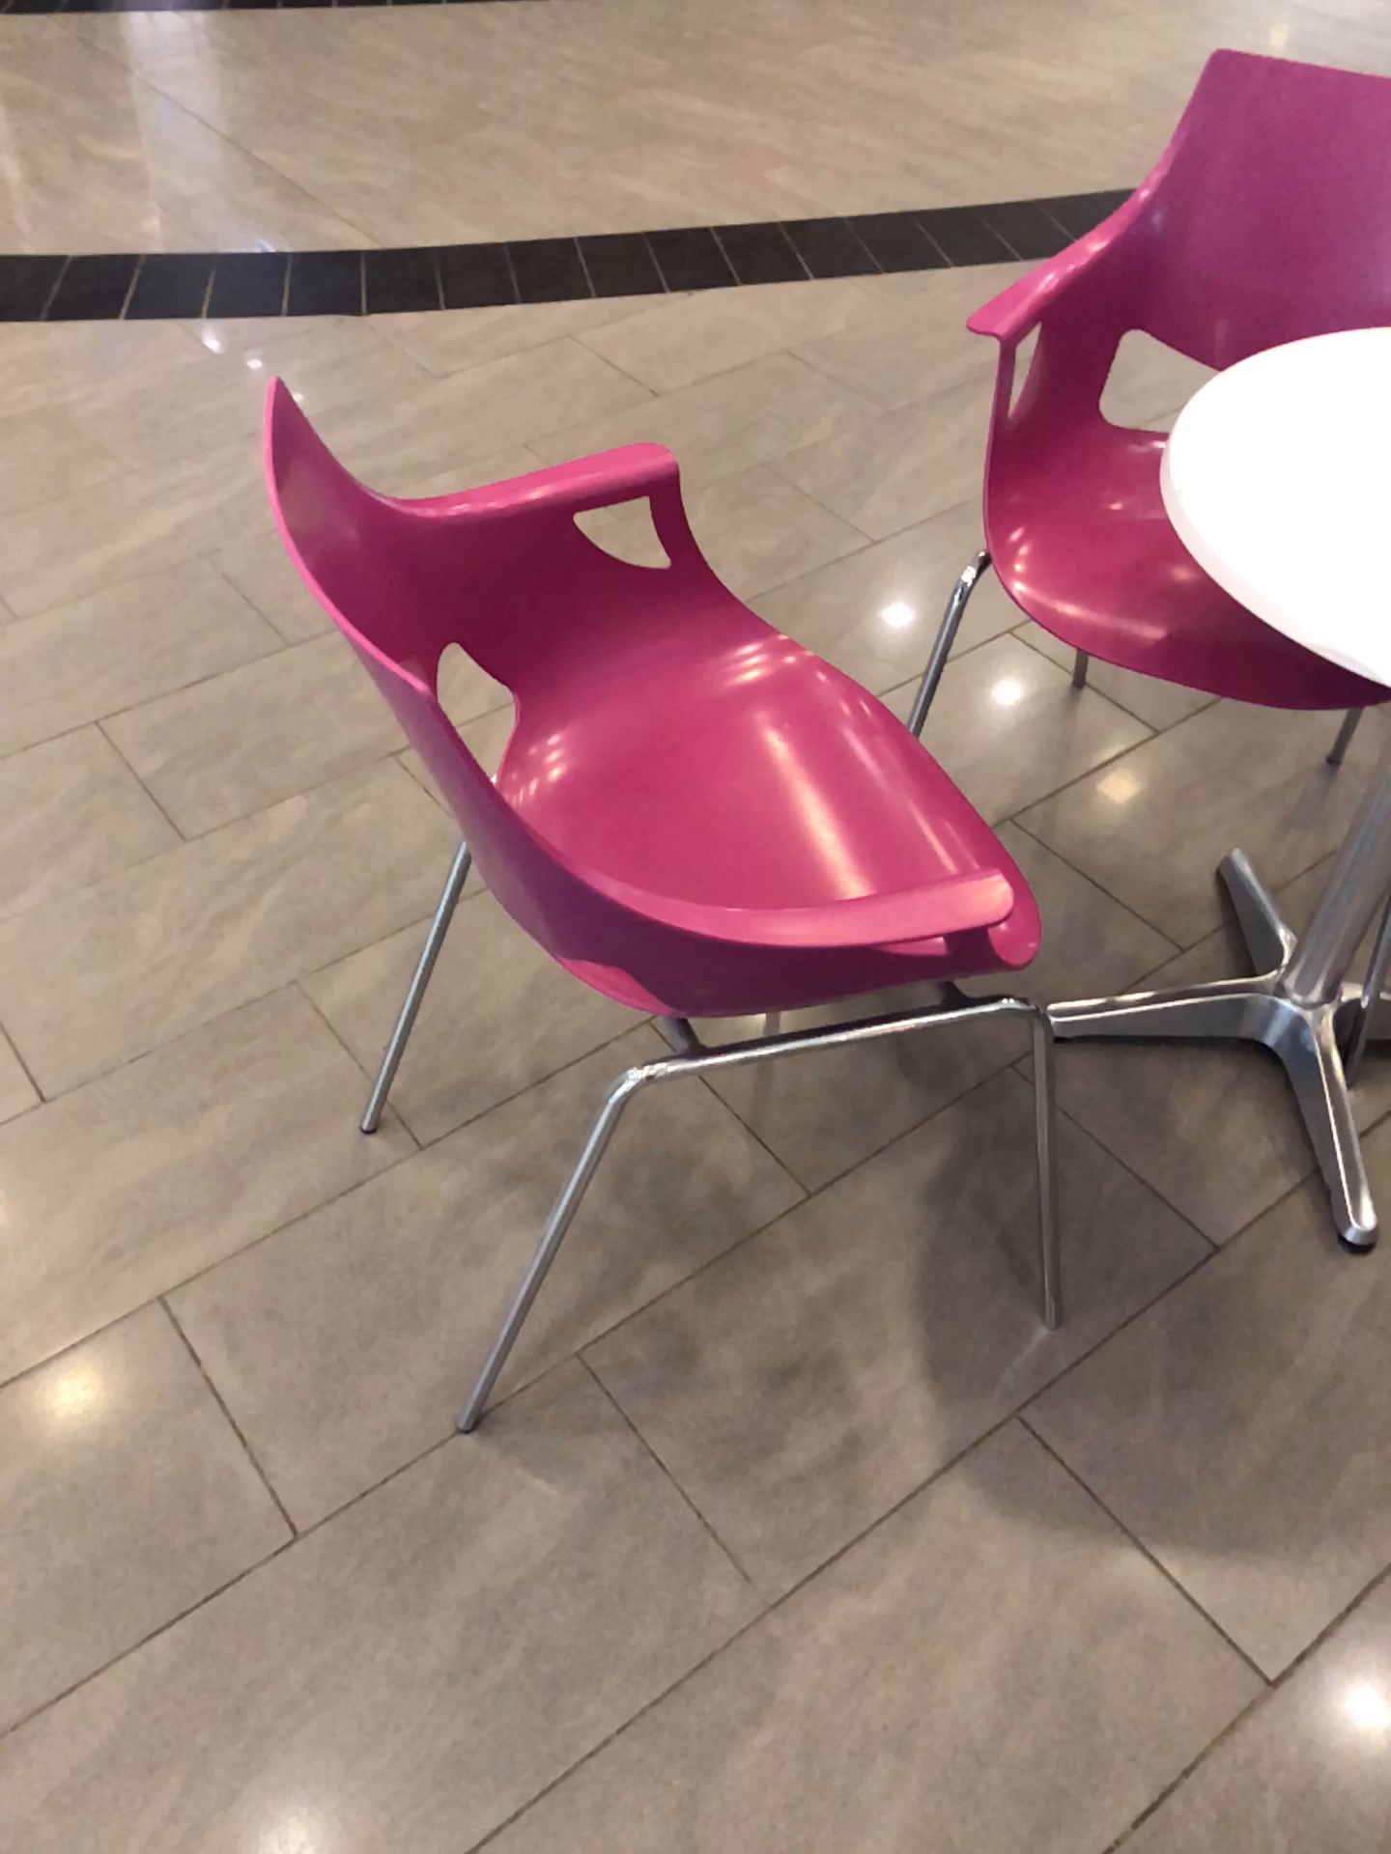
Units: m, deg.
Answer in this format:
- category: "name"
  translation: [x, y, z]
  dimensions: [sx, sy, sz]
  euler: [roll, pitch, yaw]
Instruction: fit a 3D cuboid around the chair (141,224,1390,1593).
- category: "chair"
  translation: [0.014, -0.016, 1.304]
  dimensions: [0.670, 0.837, 0.622]
  euler: [-15, 46, -15]
